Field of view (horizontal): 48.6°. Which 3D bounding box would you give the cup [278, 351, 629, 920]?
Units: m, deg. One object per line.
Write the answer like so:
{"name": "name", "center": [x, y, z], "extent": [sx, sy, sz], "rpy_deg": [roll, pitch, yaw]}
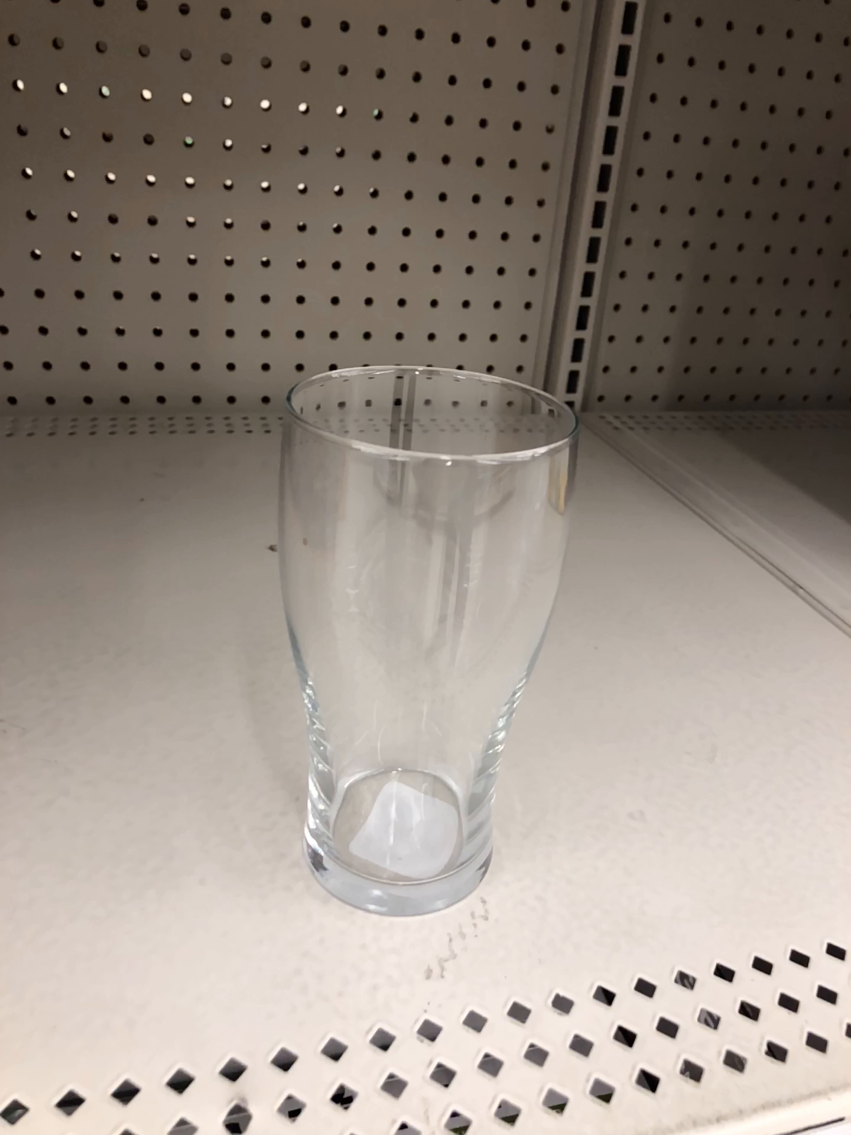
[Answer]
{"name": "cup", "center": [-0.001, 0.019, 0.271], "extent": [0.076, 0.138, 0.081], "rpy_deg": [4, 26, -2]}
